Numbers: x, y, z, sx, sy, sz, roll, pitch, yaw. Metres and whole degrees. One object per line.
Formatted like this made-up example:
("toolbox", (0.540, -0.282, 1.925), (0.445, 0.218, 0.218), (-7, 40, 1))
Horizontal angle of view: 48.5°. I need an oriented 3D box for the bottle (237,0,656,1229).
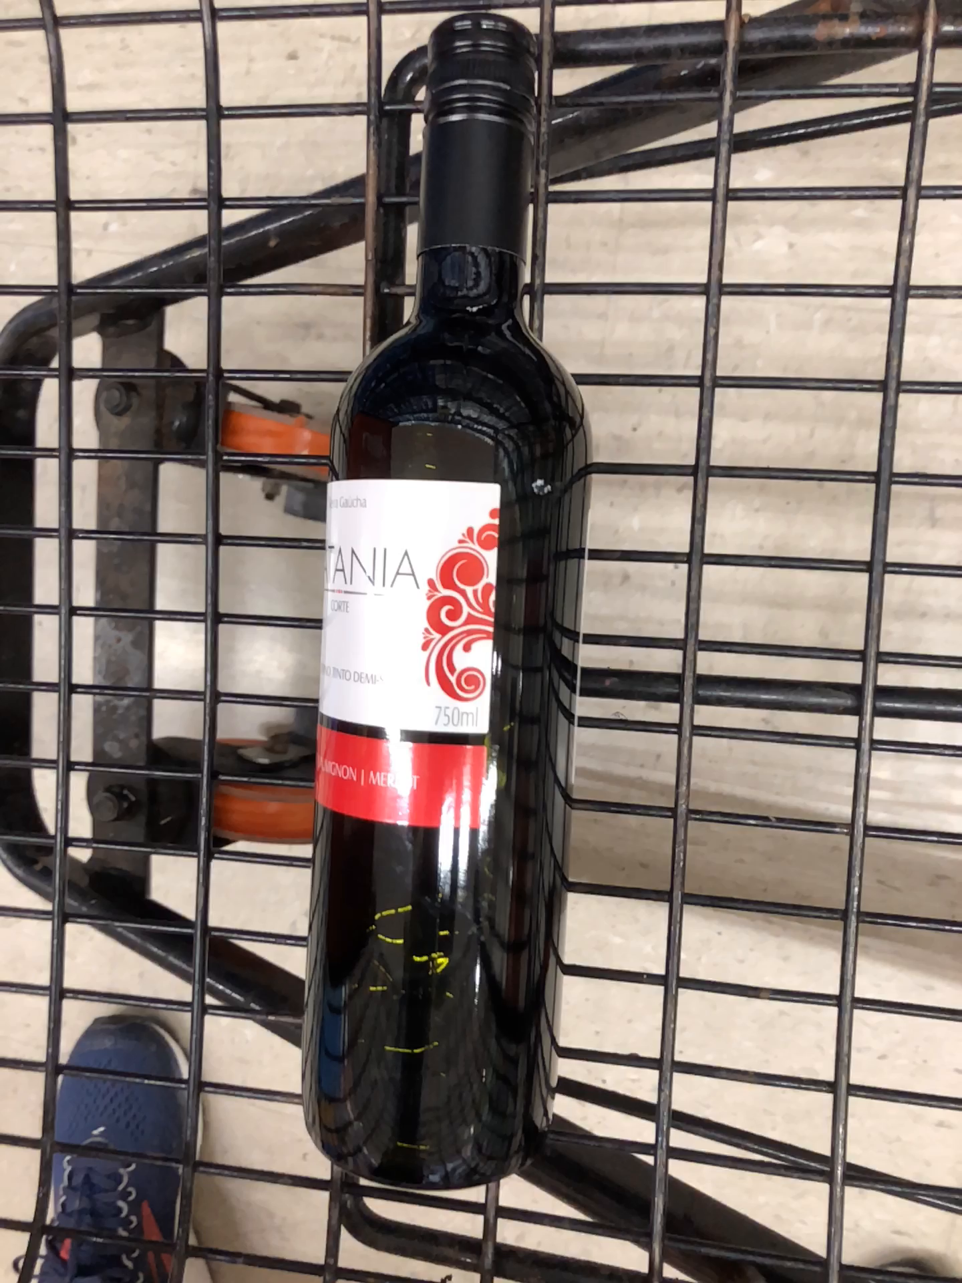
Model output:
("bottle", (-0.014, -0.019, 0.286), (0.080, 0.070, 0.300), (8, 97, 55))
